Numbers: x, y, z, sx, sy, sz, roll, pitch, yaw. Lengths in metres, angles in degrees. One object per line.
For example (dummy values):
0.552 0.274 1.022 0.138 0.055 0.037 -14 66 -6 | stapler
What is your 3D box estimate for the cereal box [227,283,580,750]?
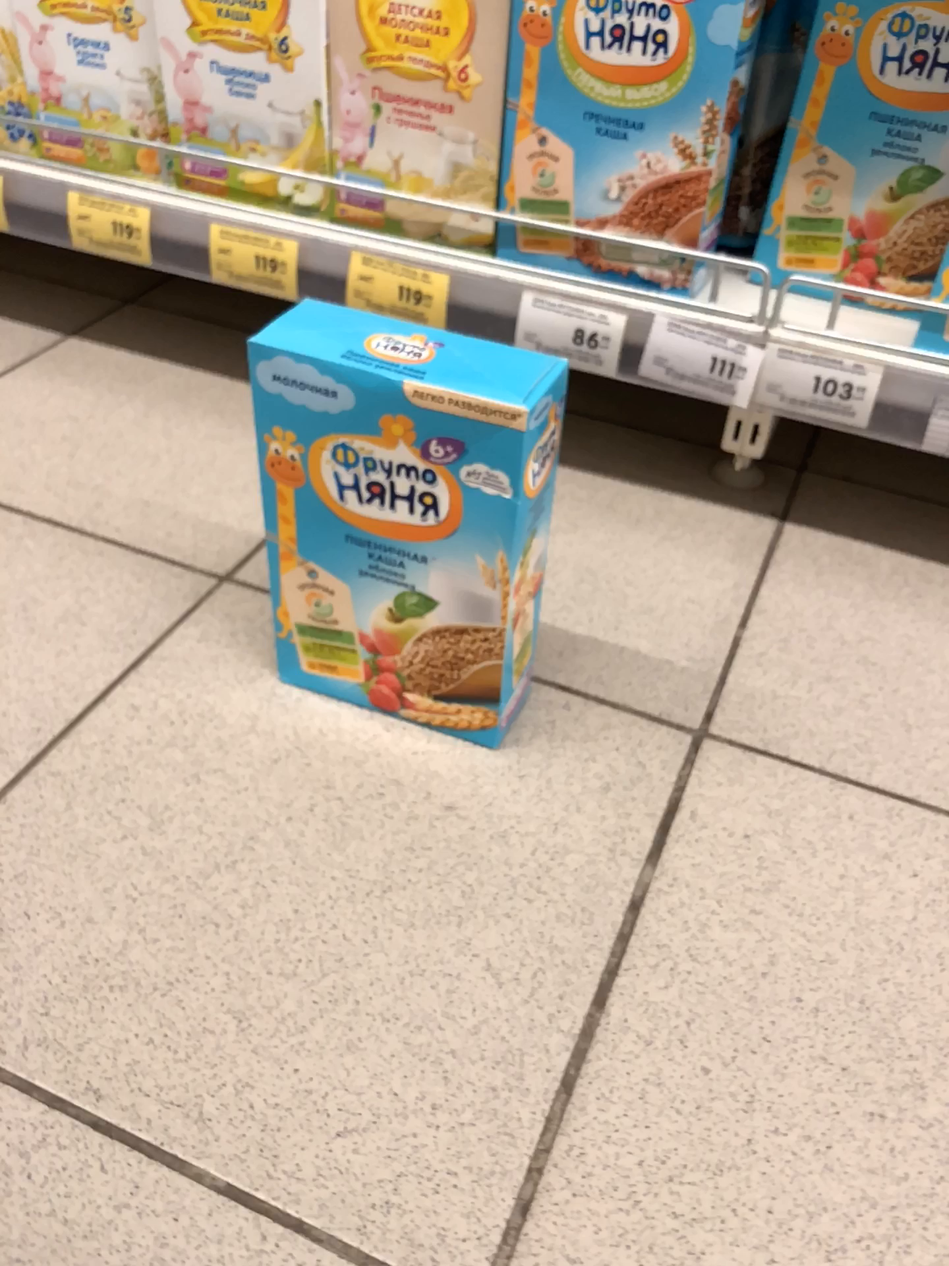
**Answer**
-0.035 -0.052 0.521 0.140 0.199 0.060 16 42 14 | cereal box
